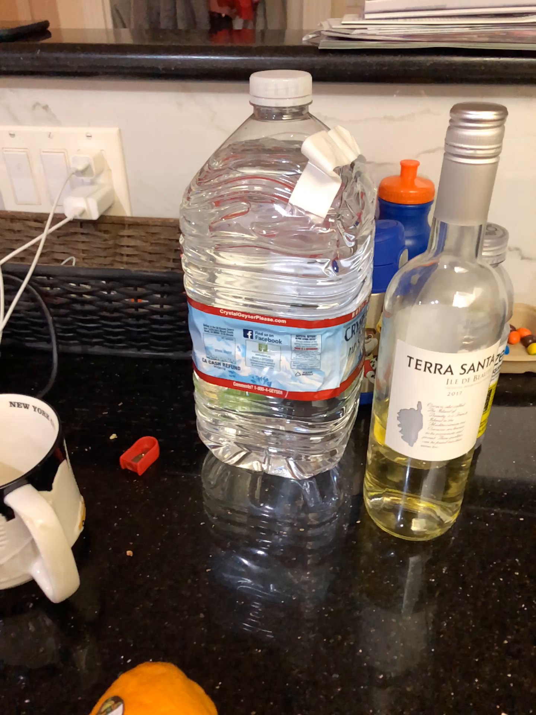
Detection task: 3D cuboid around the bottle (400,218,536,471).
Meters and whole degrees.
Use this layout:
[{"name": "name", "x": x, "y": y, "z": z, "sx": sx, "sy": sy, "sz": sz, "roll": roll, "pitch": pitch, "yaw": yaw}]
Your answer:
[{"name": "bottle", "x": 0.158, "y": -0.009, "z": 0.440, "sx": 0.070, "sy": 0.159, "sz": 0.070, "roll": 0, "pitch": 33, "yaw": 0}]

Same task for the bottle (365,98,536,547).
[{"name": "bottle", "x": 0.107, "y": -0.007, "z": 0.361, "sx": 0.070, "sy": 0.268, "sz": 0.070, "roll": 0, "pitch": 33, "yaw": 0}]

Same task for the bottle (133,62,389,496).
[{"name": "bottle", "x": 0.005, "y": -0.058, "z": 0.444, "sx": 0.130, "sy": 0.278, "sz": 0.141, "roll": 0, "pitch": 33, "yaw": 0}]
